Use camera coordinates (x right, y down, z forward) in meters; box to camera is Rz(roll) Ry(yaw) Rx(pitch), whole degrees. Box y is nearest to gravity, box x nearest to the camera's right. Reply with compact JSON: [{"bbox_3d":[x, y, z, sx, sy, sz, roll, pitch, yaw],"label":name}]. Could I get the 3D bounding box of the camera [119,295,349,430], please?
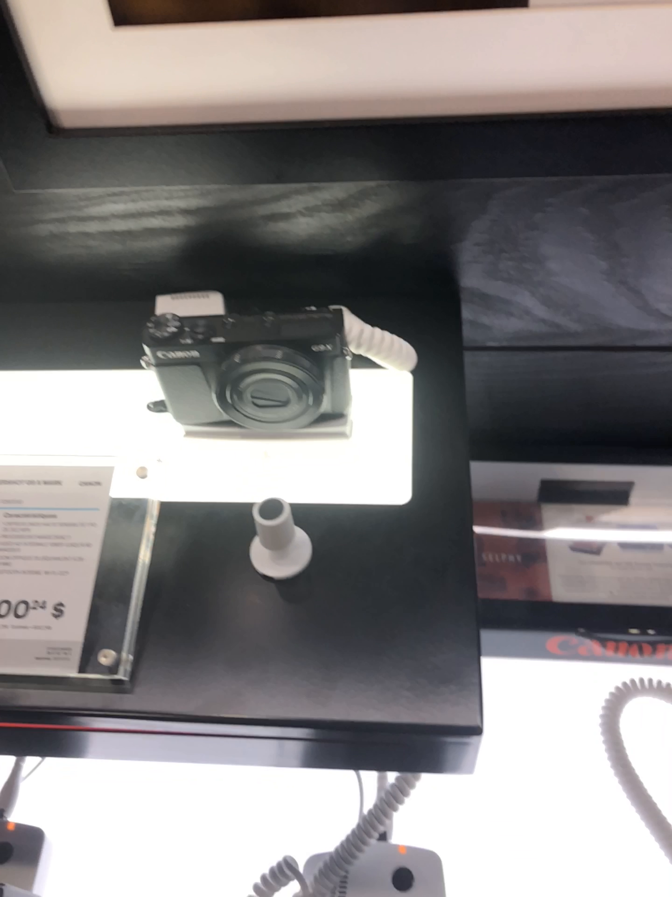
[{"bbox_3d":[-0.045,-0.040,0.361,0.100,0.058,0.025,-3,49,3],"label":"camera"}]
